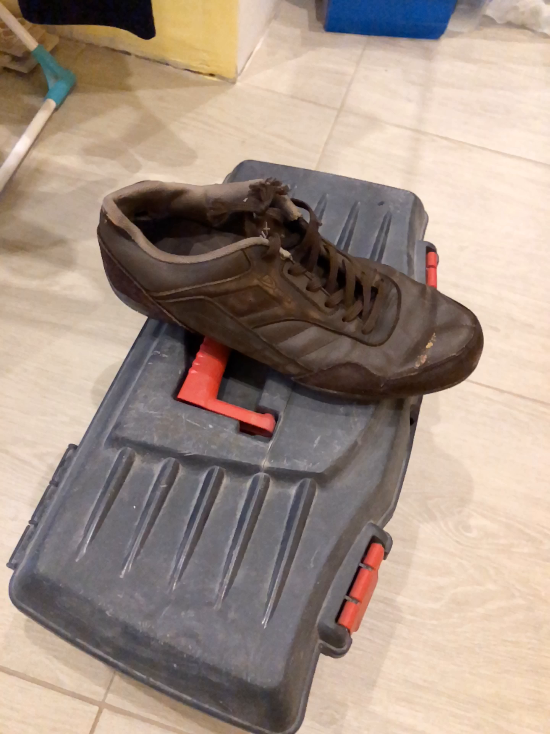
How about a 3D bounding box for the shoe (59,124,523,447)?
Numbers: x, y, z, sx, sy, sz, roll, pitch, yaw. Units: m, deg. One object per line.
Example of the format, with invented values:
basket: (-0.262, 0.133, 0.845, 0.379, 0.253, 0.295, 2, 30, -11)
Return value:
shoe: (0.011, -0.059, 0.432, 0.280, 0.099, 0.111, 19, 59, 6)
